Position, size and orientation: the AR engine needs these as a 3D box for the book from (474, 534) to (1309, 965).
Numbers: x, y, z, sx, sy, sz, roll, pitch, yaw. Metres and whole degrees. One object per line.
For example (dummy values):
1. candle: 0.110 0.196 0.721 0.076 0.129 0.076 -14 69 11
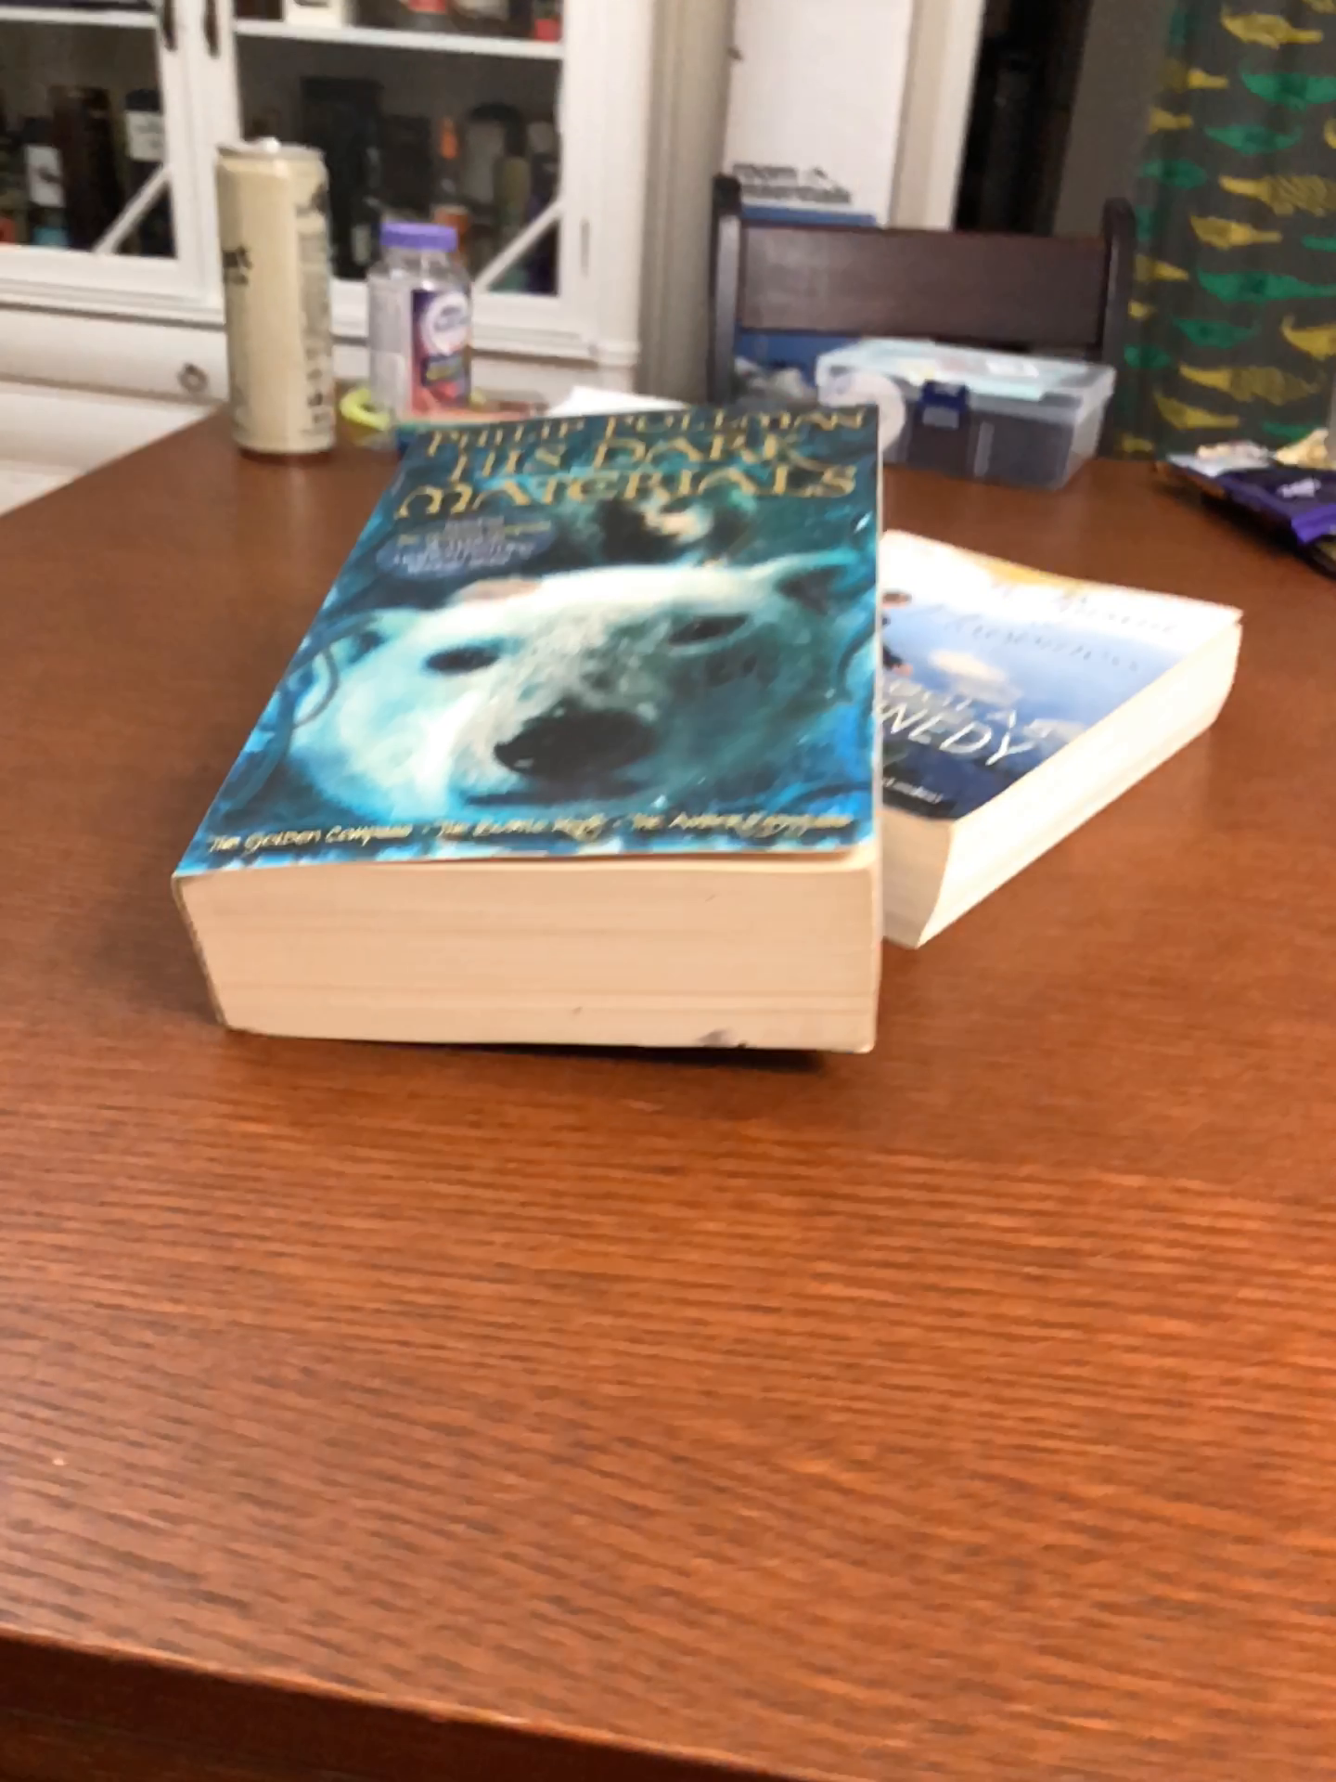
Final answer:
1. book: 0.083 -0.066 0.500 0.170 0.040 0.241 19 34 37

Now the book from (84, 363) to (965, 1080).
1. book: -0.018 -0.064 0.392 0.170 0.060 0.242 1 41 5
